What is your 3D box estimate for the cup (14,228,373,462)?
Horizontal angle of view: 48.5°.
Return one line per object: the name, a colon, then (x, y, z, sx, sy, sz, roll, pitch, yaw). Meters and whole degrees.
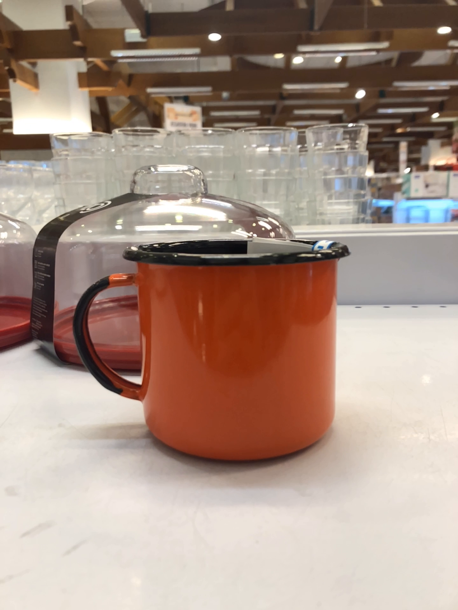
cup: (-0.010, 0.008, 0.201, 0.110, 0.070, 0.080, -1, 11, 0)
